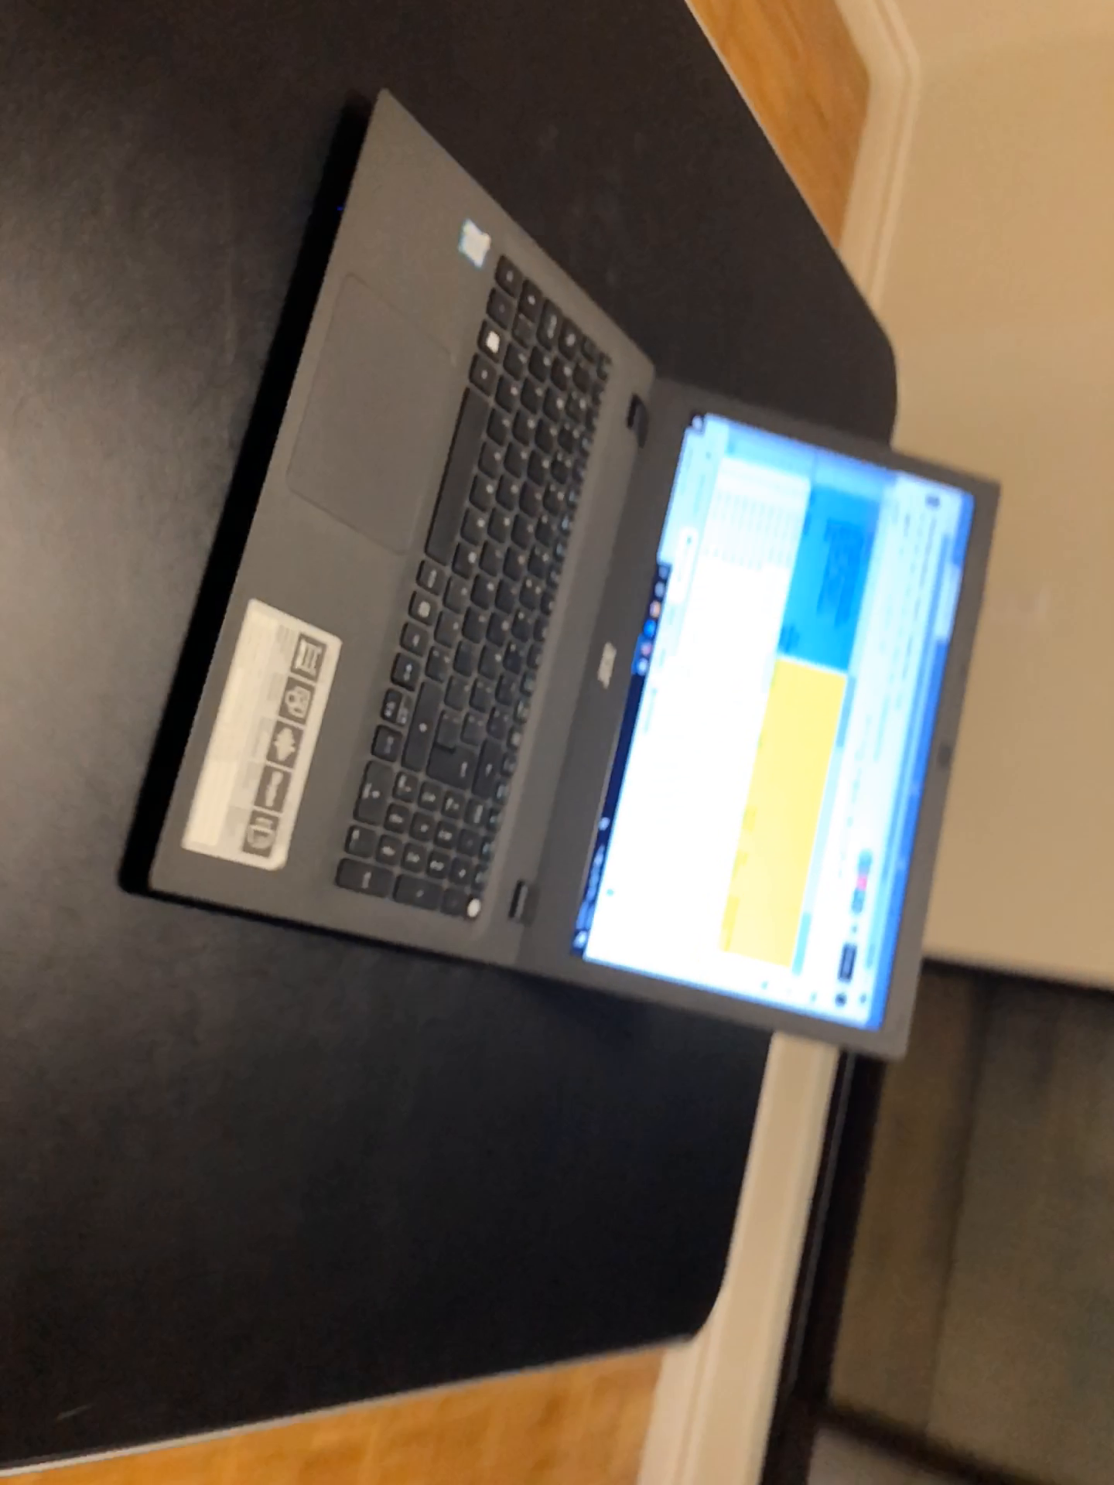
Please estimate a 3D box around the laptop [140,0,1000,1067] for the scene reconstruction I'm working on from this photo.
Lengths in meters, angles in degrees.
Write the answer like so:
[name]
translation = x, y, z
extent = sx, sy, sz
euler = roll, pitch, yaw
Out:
[laptop]
translation = 0.060, -0.056, 0.647
extent = 0.432, 0.161, 0.374
euler = 27, 72, -51
